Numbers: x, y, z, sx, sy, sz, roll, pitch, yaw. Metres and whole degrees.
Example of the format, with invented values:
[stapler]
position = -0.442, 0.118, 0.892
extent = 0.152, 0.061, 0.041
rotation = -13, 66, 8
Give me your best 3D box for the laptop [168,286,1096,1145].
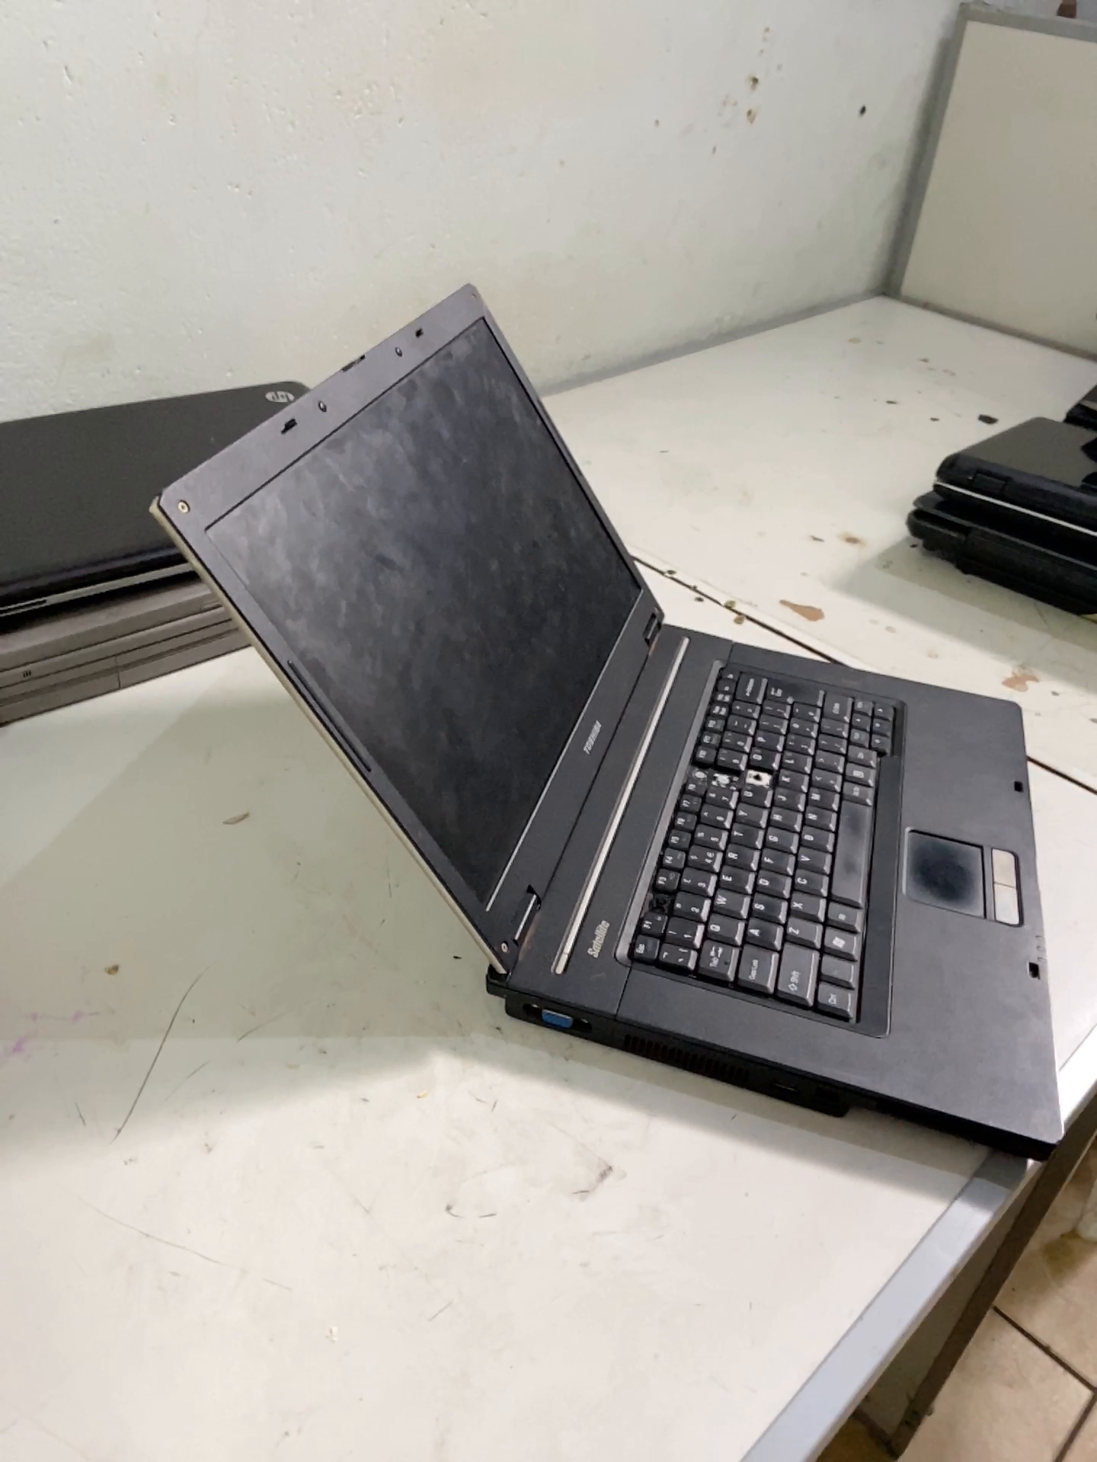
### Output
[laptop]
position = 0.088, -0.053, 0.600
extent = 0.401, 0.212, 0.358
rotation = 14, 37, 11
